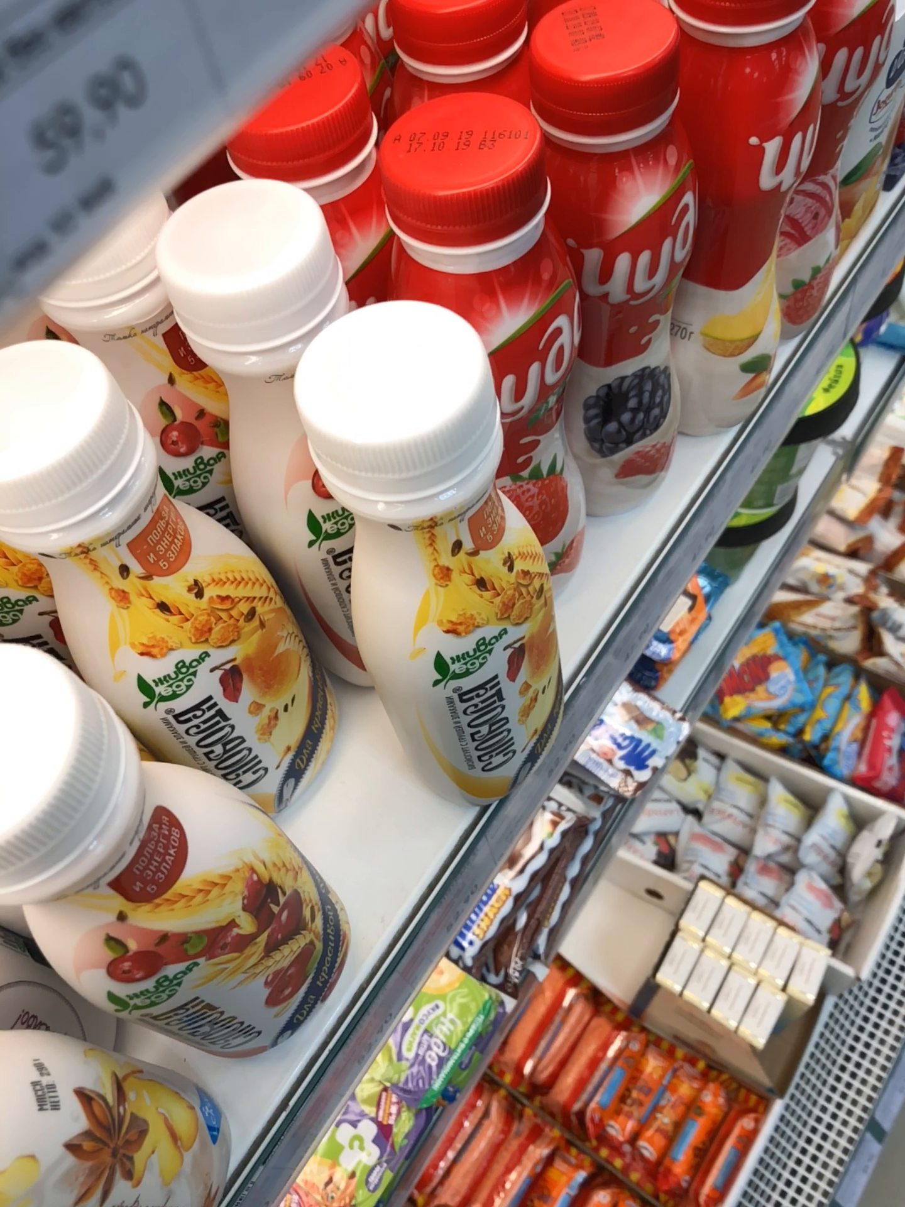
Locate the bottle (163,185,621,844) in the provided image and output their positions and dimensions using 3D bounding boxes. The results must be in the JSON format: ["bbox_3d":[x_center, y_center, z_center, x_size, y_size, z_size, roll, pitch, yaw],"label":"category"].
[{"bbox_3d":[-0.002,-0.005,0.279,0.060,0.189,0.070,32,69,22],"label":"bottle"}]
